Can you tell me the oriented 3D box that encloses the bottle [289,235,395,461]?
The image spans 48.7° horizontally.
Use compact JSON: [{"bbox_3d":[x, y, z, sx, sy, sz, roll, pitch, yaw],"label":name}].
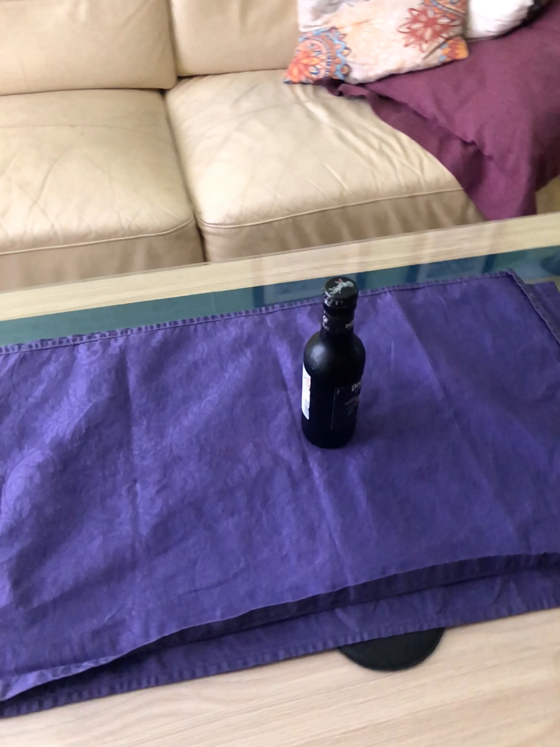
[{"bbox_3d":[0.049,-0.013,0.535,0.070,0.199,0.070,0,49,0],"label":"bottle"}]
